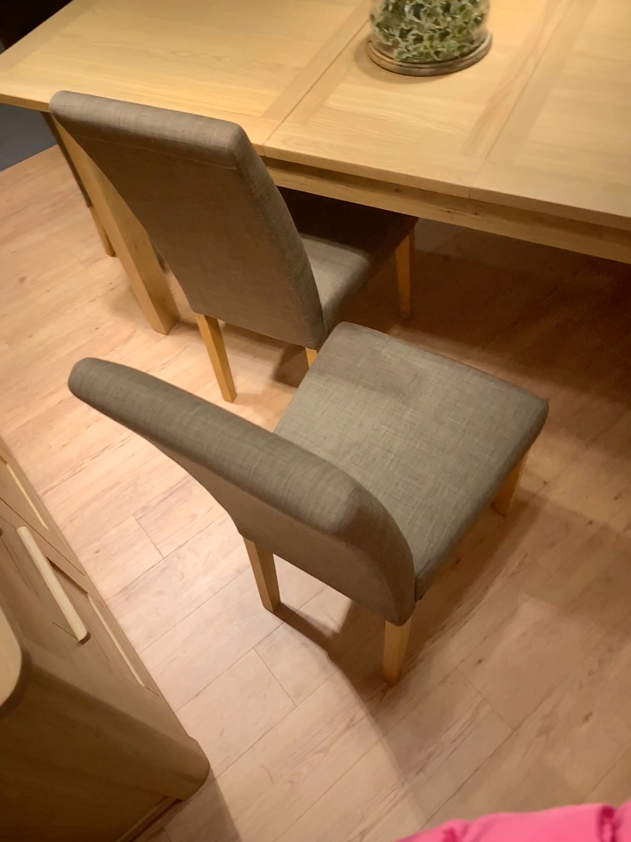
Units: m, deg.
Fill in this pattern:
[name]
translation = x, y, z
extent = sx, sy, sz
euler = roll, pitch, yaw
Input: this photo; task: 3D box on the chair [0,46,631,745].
[chair]
translation = 0.070, 0.044, 1.091
extent = 0.492, 0.952, 0.613
euler = 25, 62, 23
